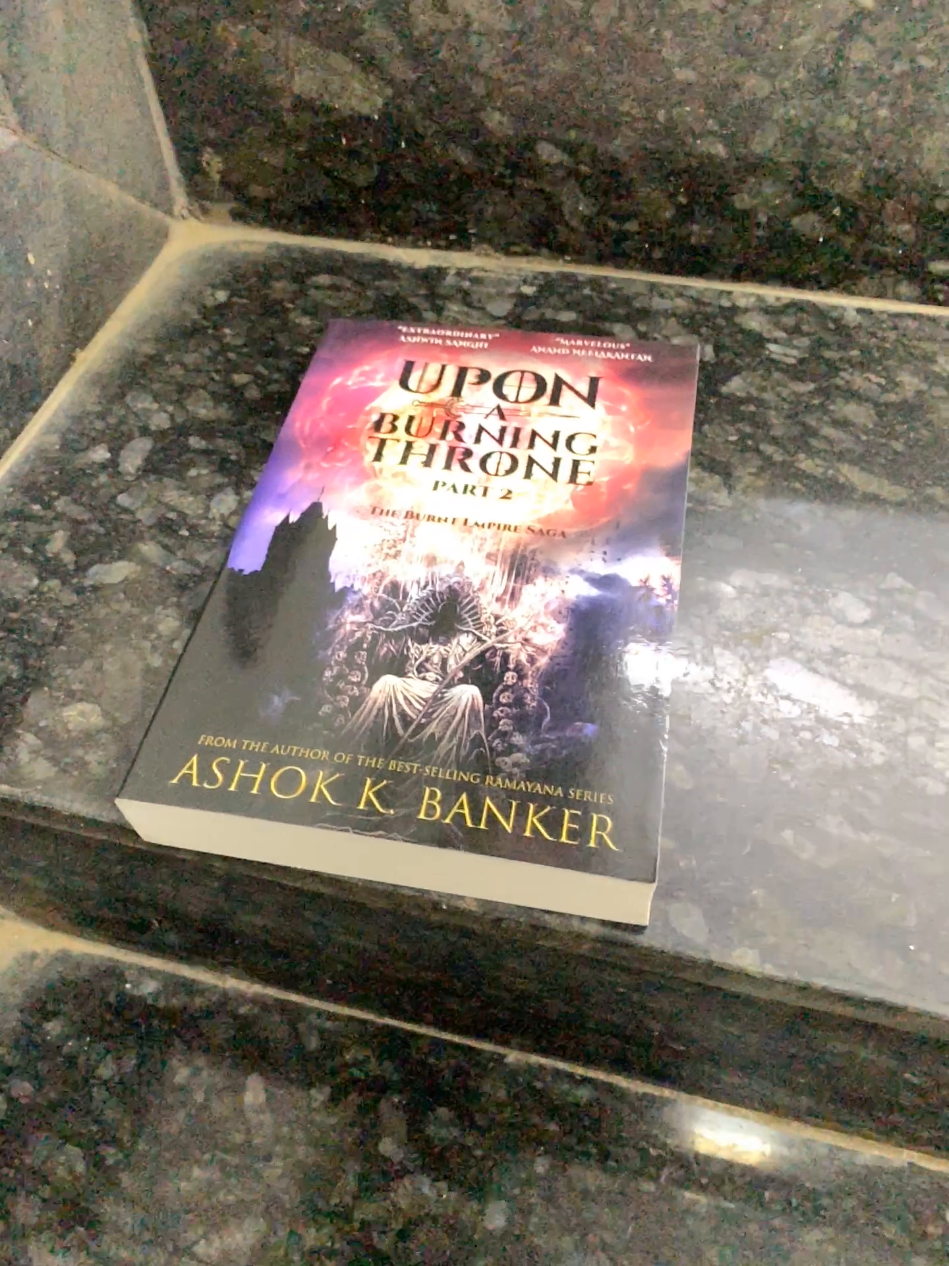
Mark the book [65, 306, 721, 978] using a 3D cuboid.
[{"bbox_3d":[-0.005,-0.017,0.282,0.140,0.030,0.201,7,53,7],"label":"book"}]
